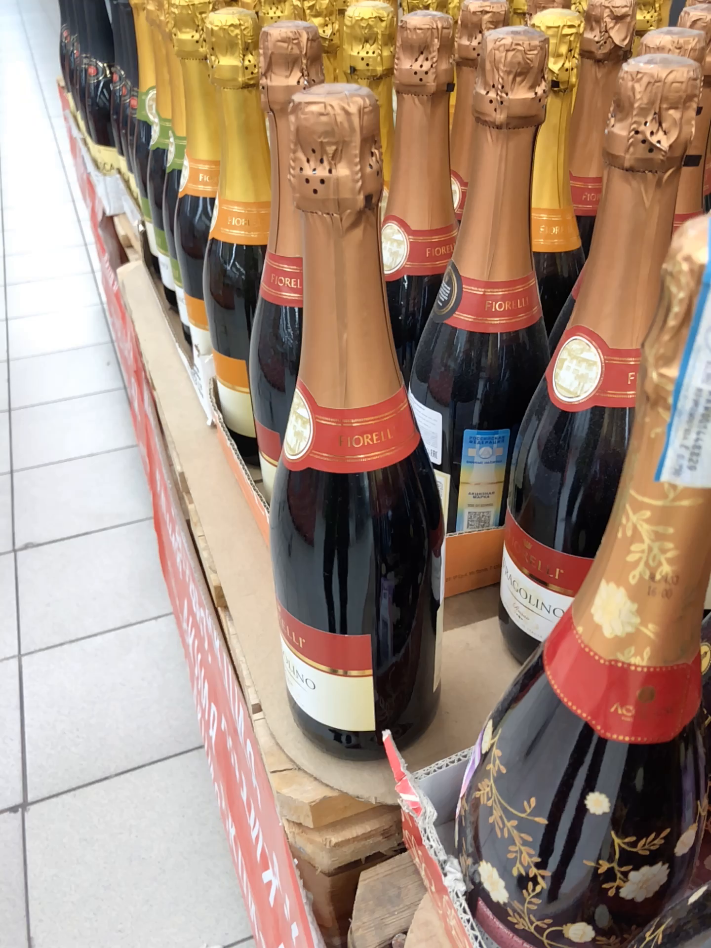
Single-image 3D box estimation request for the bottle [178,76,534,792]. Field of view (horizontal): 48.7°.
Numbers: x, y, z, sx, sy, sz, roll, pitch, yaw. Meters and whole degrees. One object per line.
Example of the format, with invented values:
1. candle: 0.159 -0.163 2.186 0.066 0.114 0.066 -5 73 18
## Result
1. bottle: -0.001 0.000 0.347 0.090 0.298 0.090 -1 36 1
